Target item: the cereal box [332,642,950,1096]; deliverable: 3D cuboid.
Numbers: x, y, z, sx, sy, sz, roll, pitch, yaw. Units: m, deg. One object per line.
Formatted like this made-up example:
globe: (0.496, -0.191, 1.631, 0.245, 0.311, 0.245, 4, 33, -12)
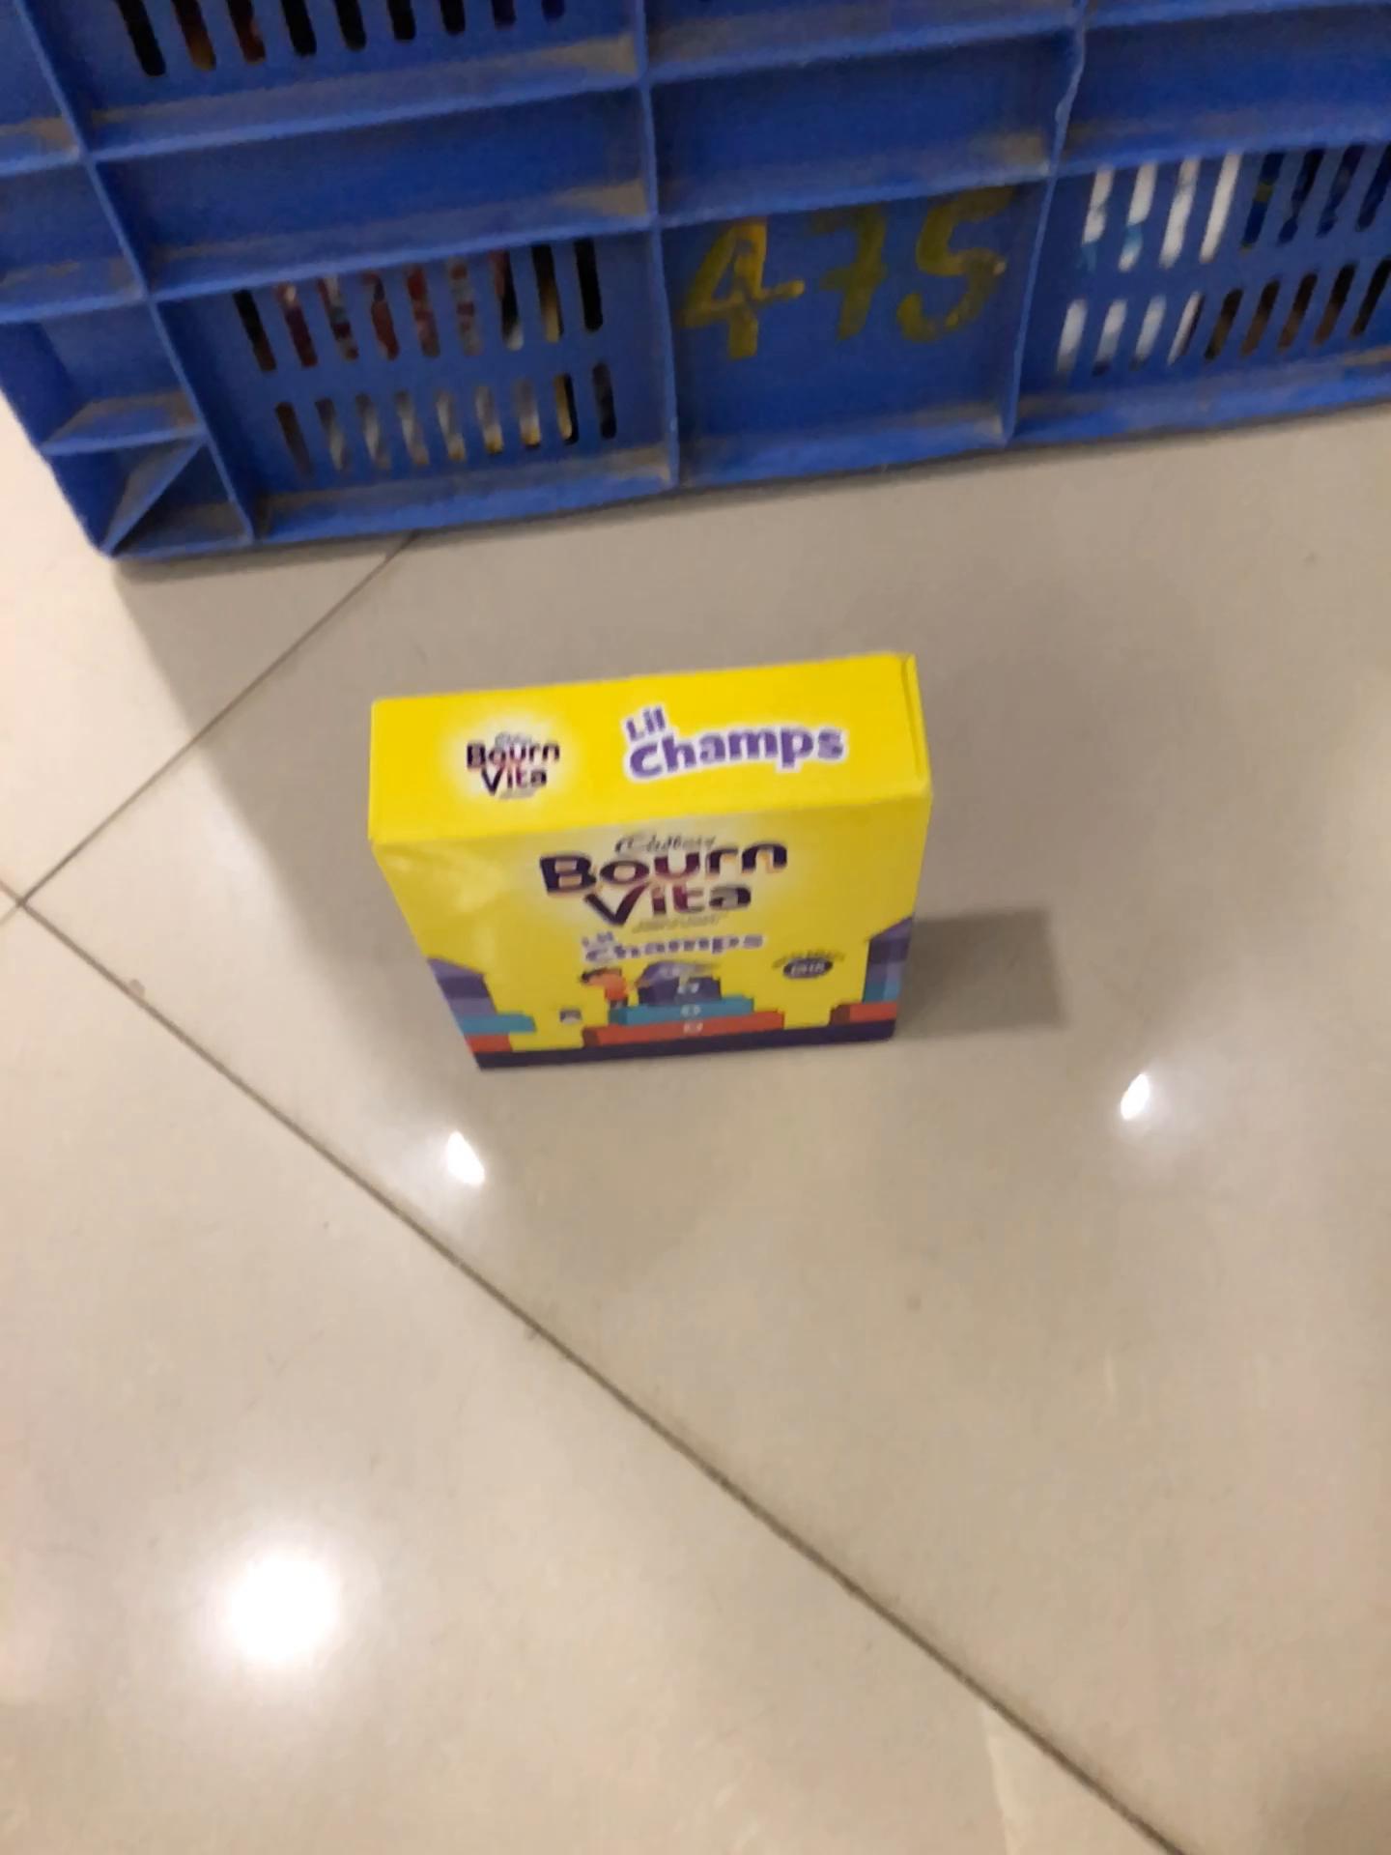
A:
cereal box: (-0.010, -0.008, 0.460, 0.150, 0.169, 0.050, -4, 63, 2)
